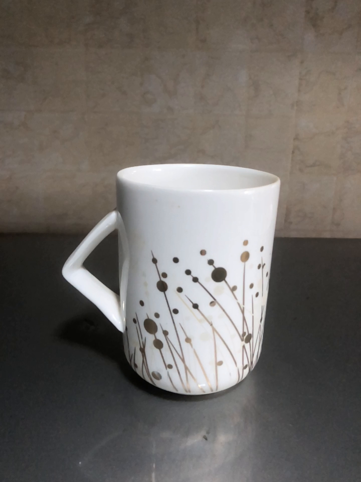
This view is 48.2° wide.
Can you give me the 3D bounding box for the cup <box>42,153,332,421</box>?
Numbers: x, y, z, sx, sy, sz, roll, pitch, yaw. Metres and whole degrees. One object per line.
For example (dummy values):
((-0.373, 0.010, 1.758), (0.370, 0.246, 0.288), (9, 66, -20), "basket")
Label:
((-0.003, 0.011, 0.200), (0.110, 0.099, 0.080), (-3, 18, -13), "cup")
